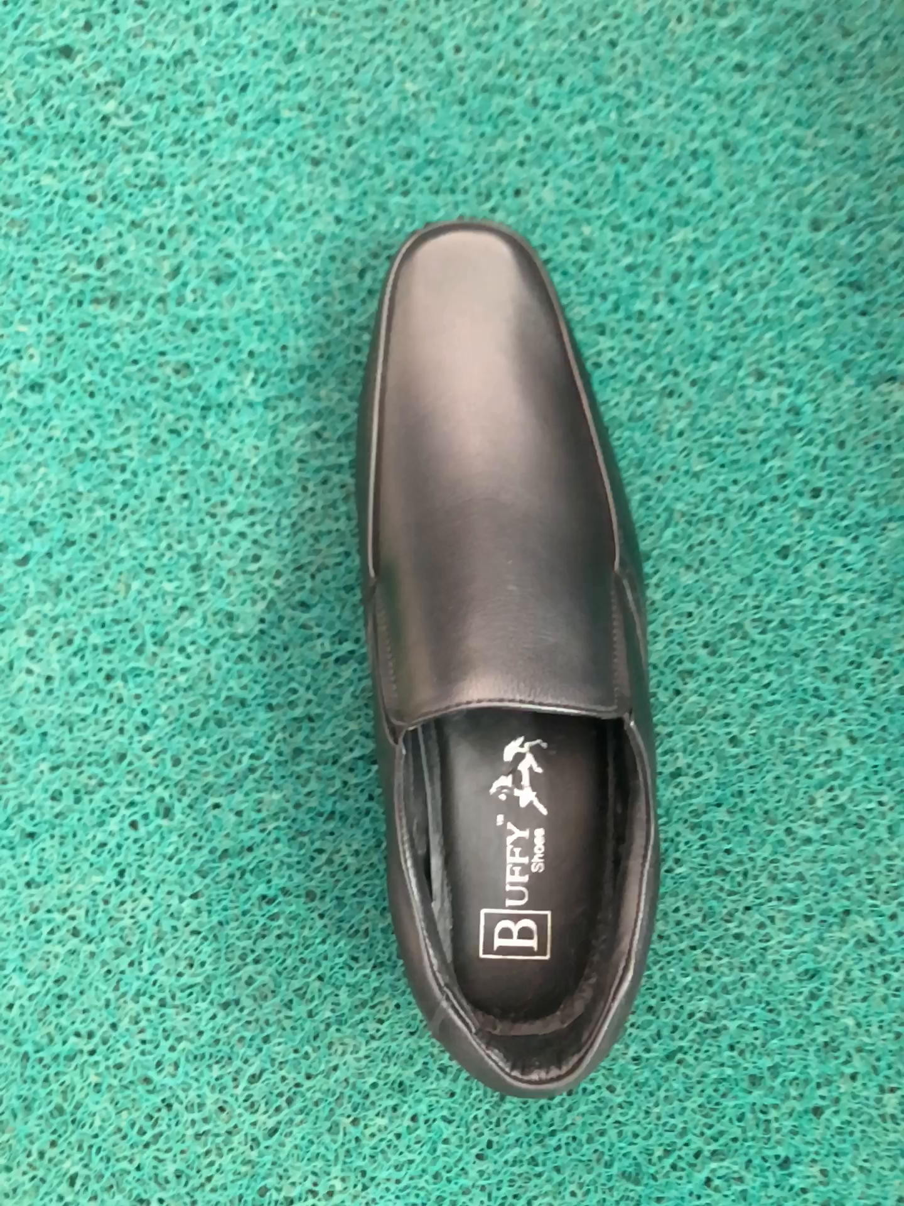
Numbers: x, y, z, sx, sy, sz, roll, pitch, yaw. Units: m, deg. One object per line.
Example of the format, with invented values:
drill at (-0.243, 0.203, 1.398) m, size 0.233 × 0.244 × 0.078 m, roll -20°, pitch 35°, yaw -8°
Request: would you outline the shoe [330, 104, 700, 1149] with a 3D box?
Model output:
shoe at (0.016, 0.005, 0.347) m, size 0.100 × 0.090 × 0.310 m, roll -2°, pitch 88°, yaw -3°
